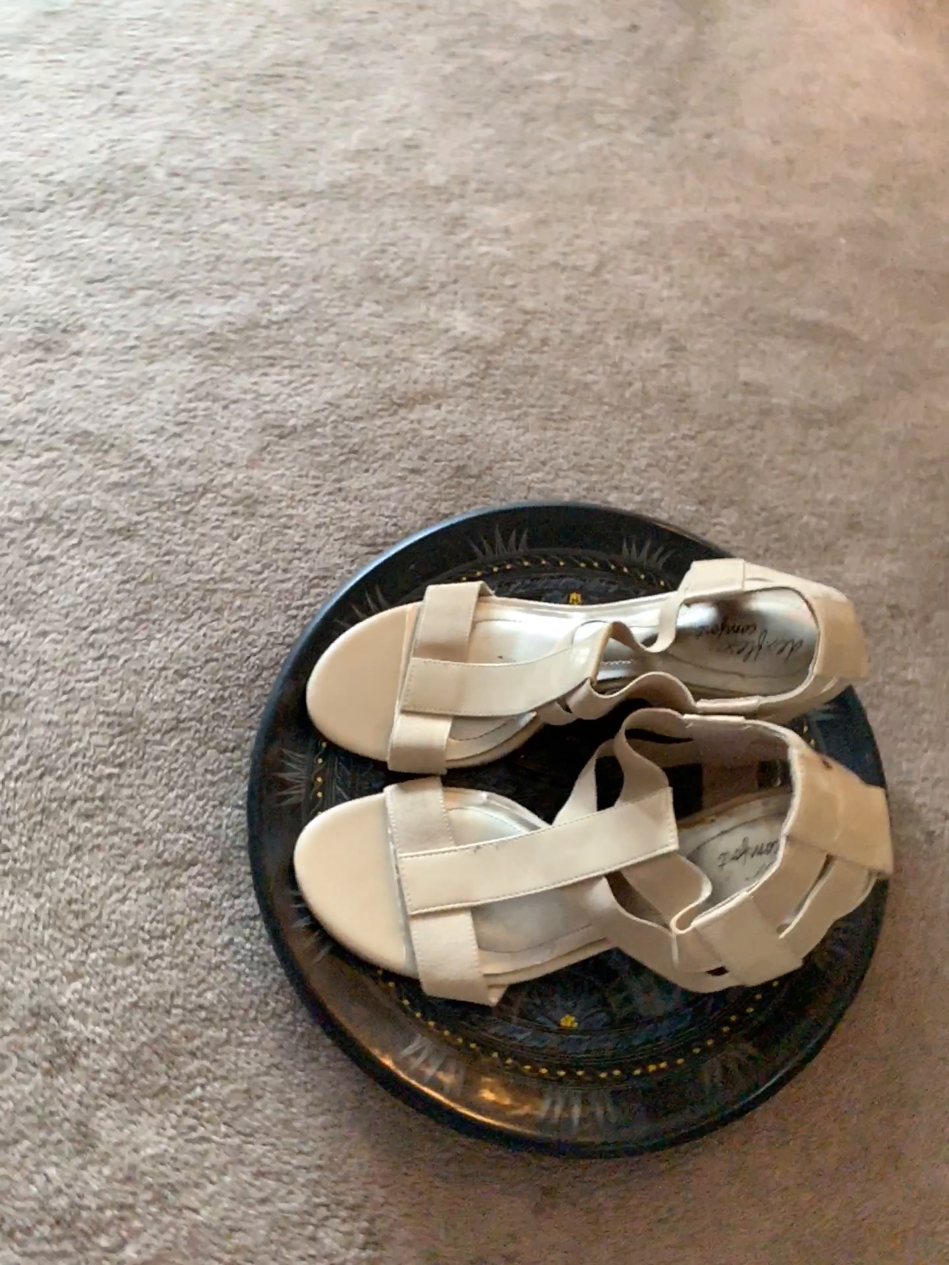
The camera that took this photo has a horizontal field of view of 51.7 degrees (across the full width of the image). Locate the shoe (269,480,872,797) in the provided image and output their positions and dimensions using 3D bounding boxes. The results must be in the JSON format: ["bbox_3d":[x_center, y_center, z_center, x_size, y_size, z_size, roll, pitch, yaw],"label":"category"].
[{"bbox_3d":[0.036,0.011,0.428,0.230,0.090,0.100,-6,76,9],"label":"shoe"}]

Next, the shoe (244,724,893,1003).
[{"bbox_3d":[0.035,0.096,0.390,0.220,0.090,0.090,-3,68,10],"label":"shoe"}]
